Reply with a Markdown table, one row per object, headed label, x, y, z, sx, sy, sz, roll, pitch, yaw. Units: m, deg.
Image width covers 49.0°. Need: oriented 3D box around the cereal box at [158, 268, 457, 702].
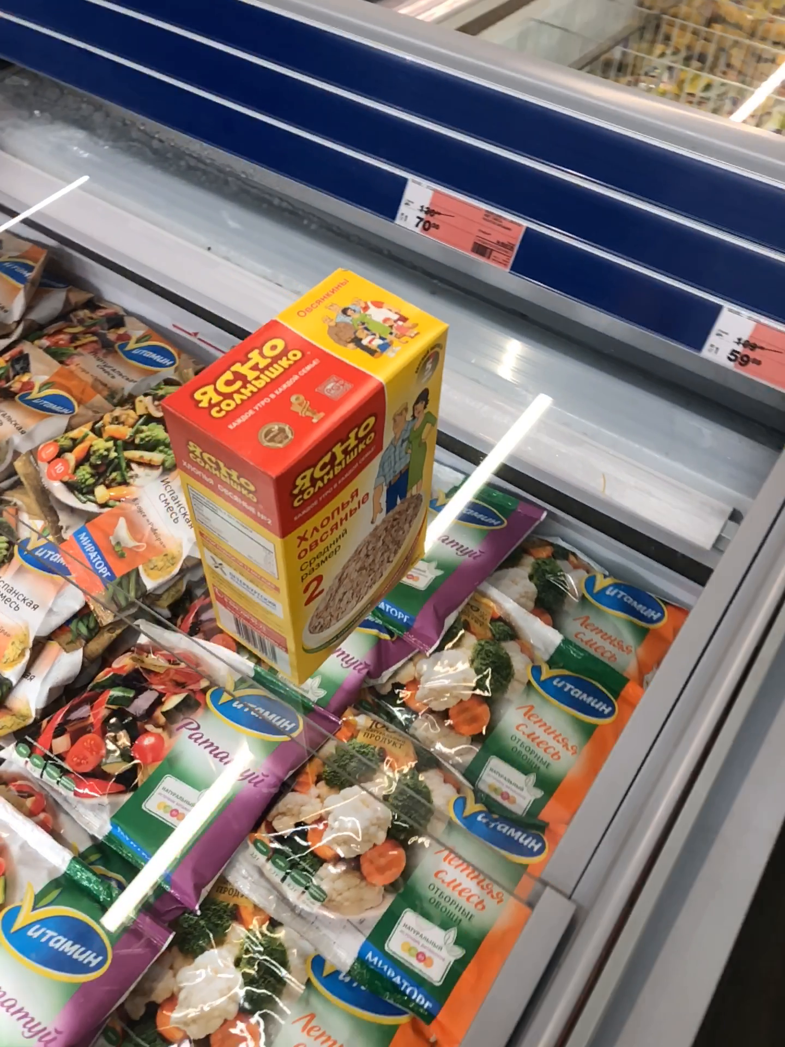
| label | x | y | z | sx | sy | sz | roll | pitch | yaw |
| --- | --- | --- | --- | --- | --- | --- | --- | --- | --- |
| cereal box | -0.039 | -0.011 | 0.460 | 0.070 | 0.199 | 0.121 | 33 | 58 | 19 |
